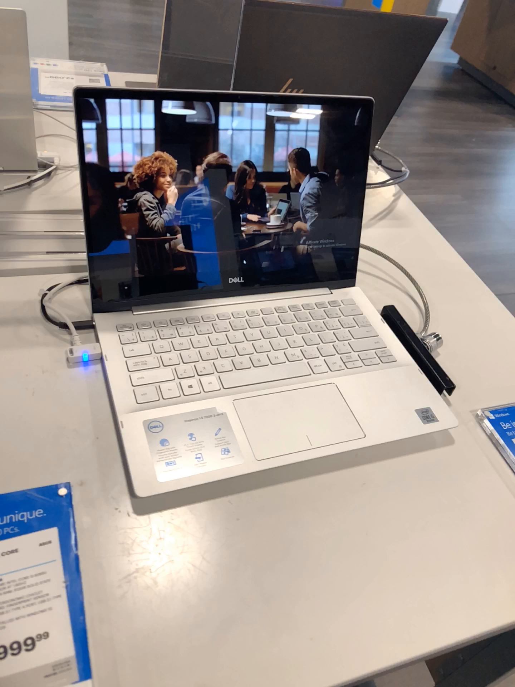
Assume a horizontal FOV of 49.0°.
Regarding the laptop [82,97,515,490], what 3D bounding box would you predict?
[{"bbox_3d":[0.019,-0.063,0.486,0.286,0.186,0.265,-7,45,-21],"label":"laptop"}]
